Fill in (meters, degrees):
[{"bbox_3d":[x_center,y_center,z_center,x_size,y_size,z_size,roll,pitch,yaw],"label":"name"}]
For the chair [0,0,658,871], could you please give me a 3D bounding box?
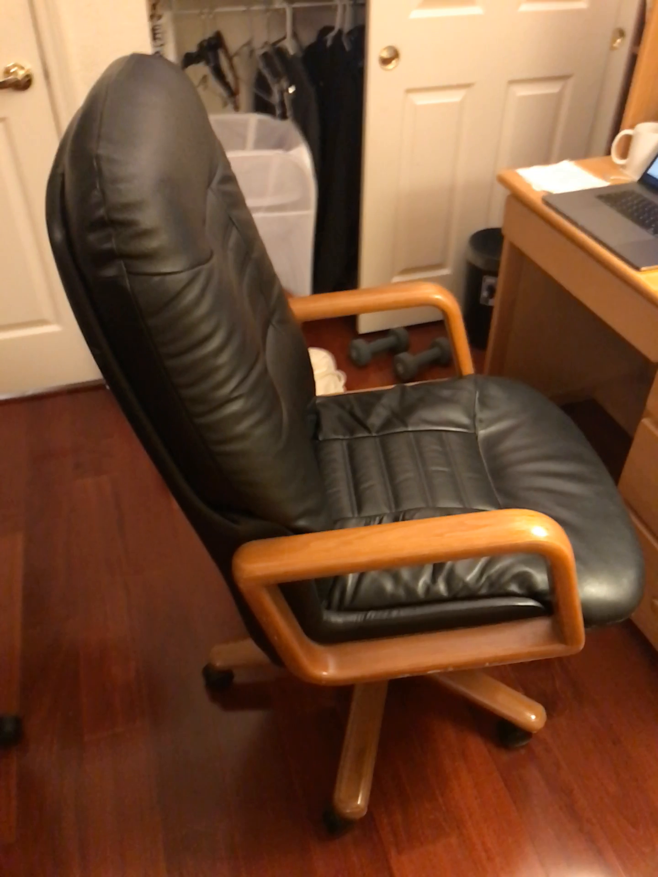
[{"bbox_3d":[0.073,-0.033,1.262,0.850,1.141,0.997,-2,40,-3],"label":"chair"}]
